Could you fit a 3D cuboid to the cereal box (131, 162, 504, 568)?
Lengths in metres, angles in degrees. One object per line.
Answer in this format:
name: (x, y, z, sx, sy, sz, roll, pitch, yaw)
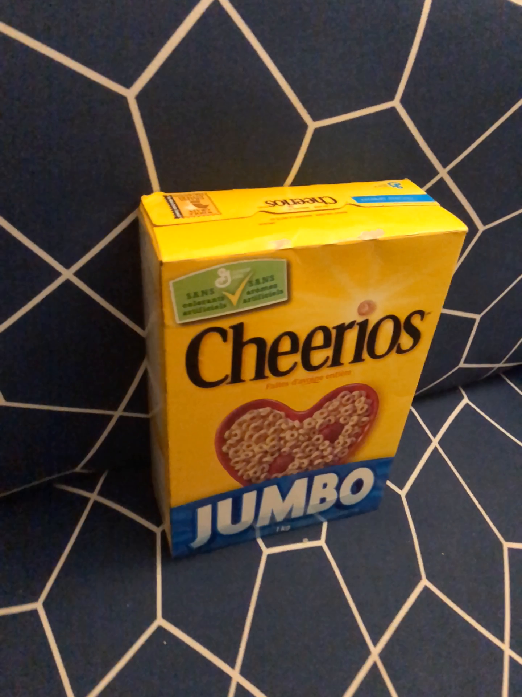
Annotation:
cereal box: (0.023, 0.022, 0.430, 0.210, 0.289, 0.080, -9, 40, -18)
